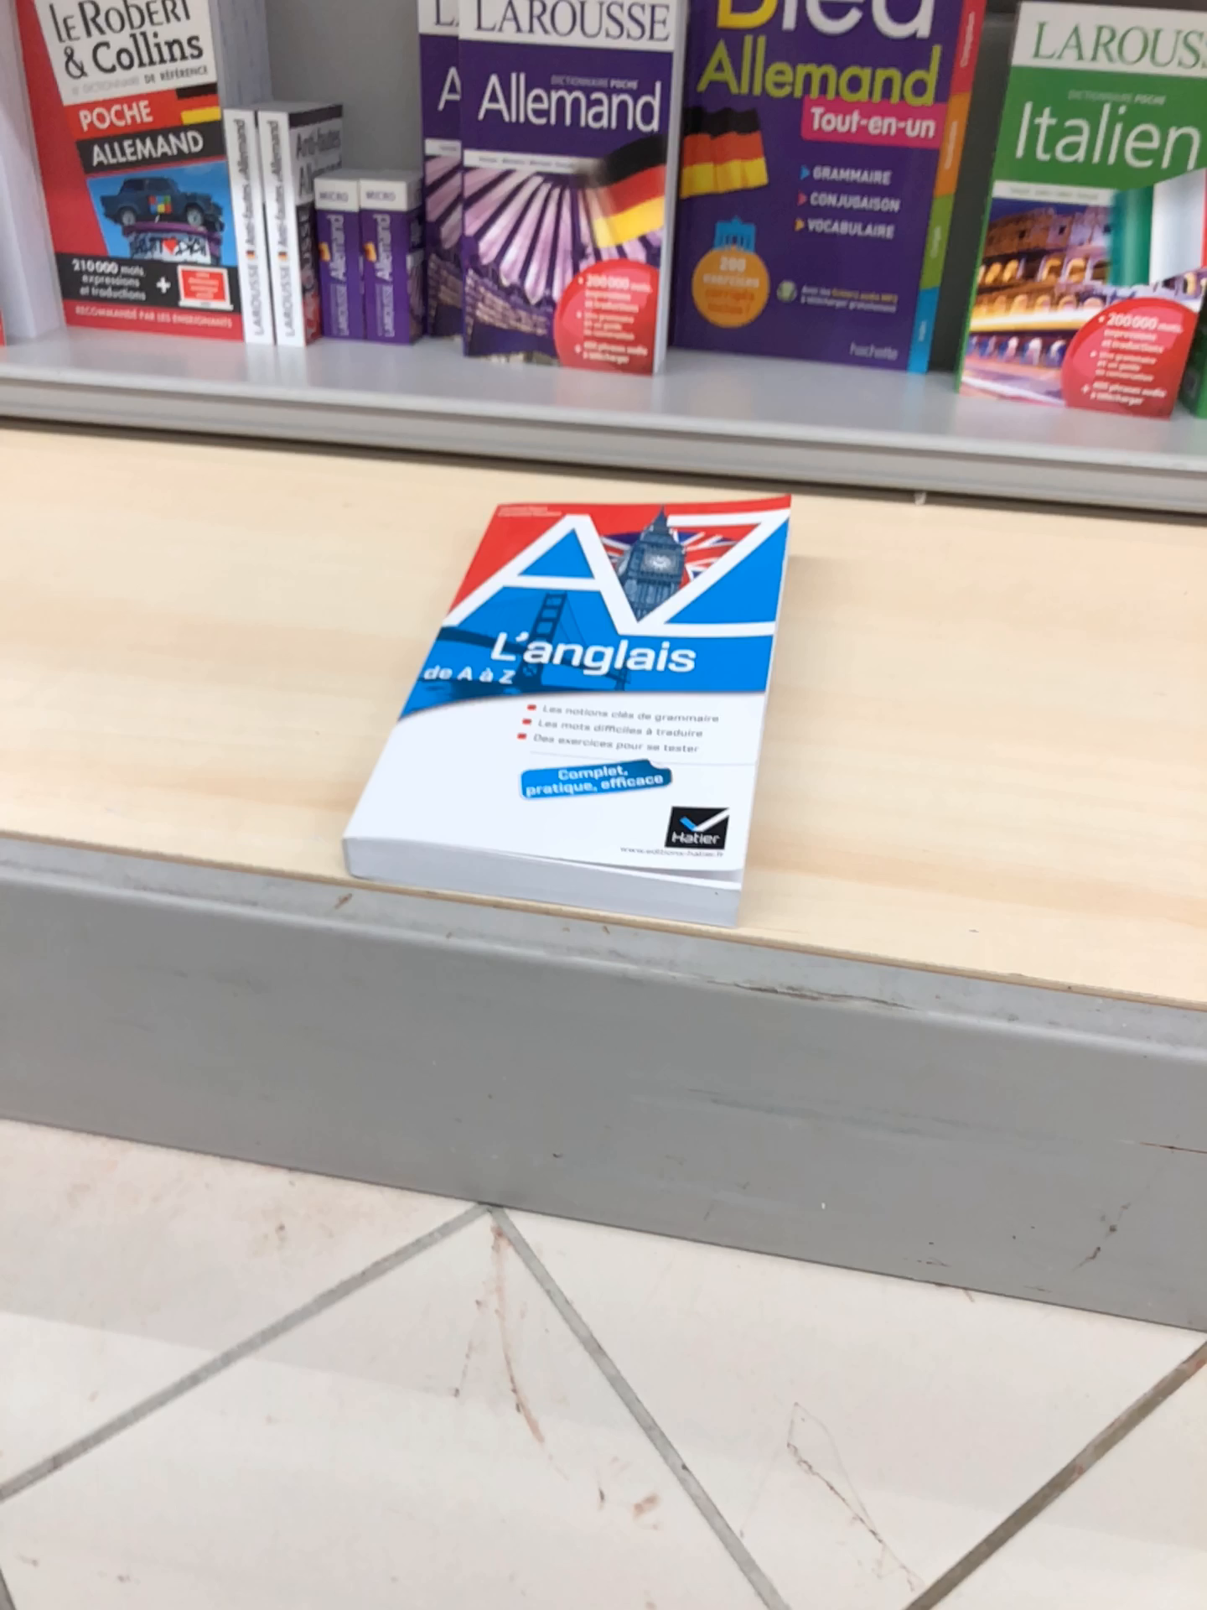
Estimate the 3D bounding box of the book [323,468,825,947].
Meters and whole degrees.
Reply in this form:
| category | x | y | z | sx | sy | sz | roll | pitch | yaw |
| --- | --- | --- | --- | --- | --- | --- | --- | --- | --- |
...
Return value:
| category | x | y | z | sx | sy | sz | roll | pitch | yaw |
| --- | --- | --- | --- | --- | --- | --- | --- | --- | --- |
| book | 0.004 | -0.052 | 0.499 | 0.143 | 0.030 | 0.236 | 7 | 41 | 7 |
